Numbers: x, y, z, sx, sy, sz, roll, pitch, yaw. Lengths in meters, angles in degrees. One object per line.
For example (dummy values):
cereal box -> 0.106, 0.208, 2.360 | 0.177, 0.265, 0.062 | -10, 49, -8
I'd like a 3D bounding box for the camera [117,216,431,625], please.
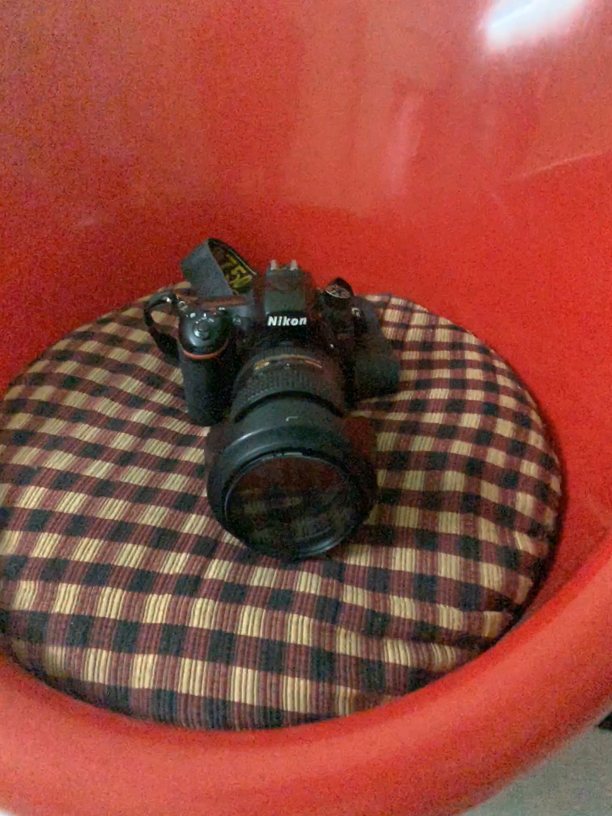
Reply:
camera -> -0.024, -0.004, 0.473 | 0.160, 0.179, 0.253 | -2, 41, -3
